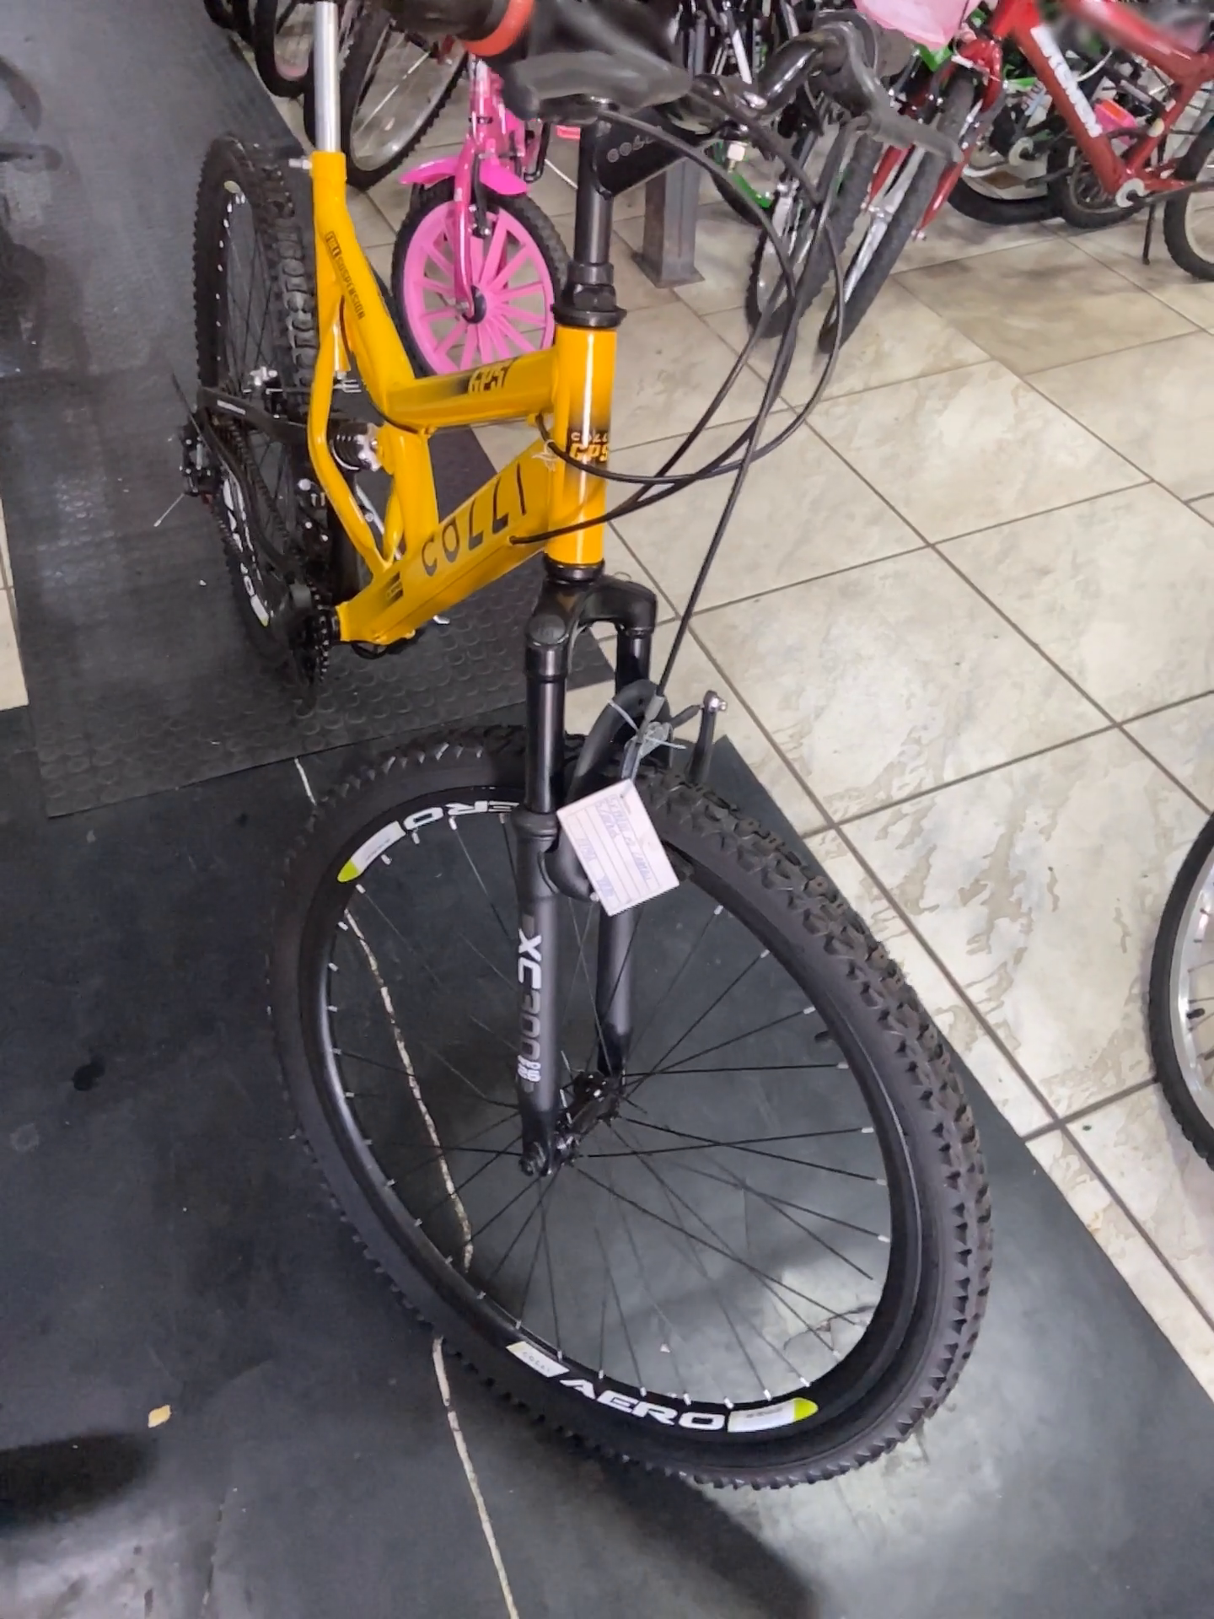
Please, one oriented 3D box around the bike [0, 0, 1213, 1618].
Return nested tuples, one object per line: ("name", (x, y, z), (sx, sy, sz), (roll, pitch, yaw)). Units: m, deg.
("bike", (-0.183, -0.316, 1.030), (0.476, 0.987, 1.526), (-23, 50, -20))
